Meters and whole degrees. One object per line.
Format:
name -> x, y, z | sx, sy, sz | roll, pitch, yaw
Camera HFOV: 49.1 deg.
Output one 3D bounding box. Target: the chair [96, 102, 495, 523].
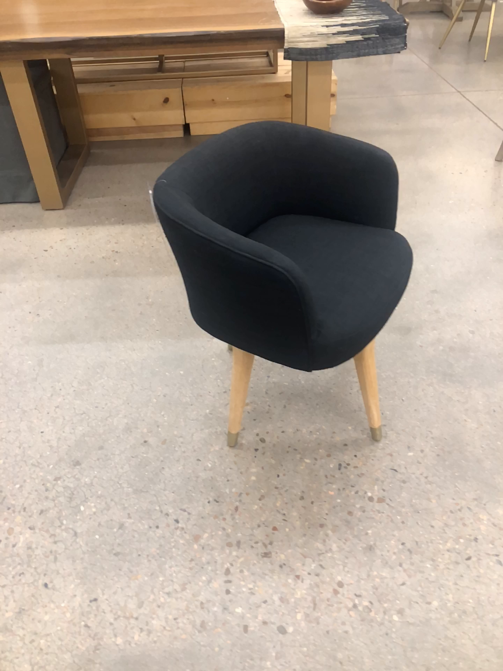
chair -> 0.121, -0.099, 1.364 | 0.604, 0.669, 0.604 | 23, 47, 28
